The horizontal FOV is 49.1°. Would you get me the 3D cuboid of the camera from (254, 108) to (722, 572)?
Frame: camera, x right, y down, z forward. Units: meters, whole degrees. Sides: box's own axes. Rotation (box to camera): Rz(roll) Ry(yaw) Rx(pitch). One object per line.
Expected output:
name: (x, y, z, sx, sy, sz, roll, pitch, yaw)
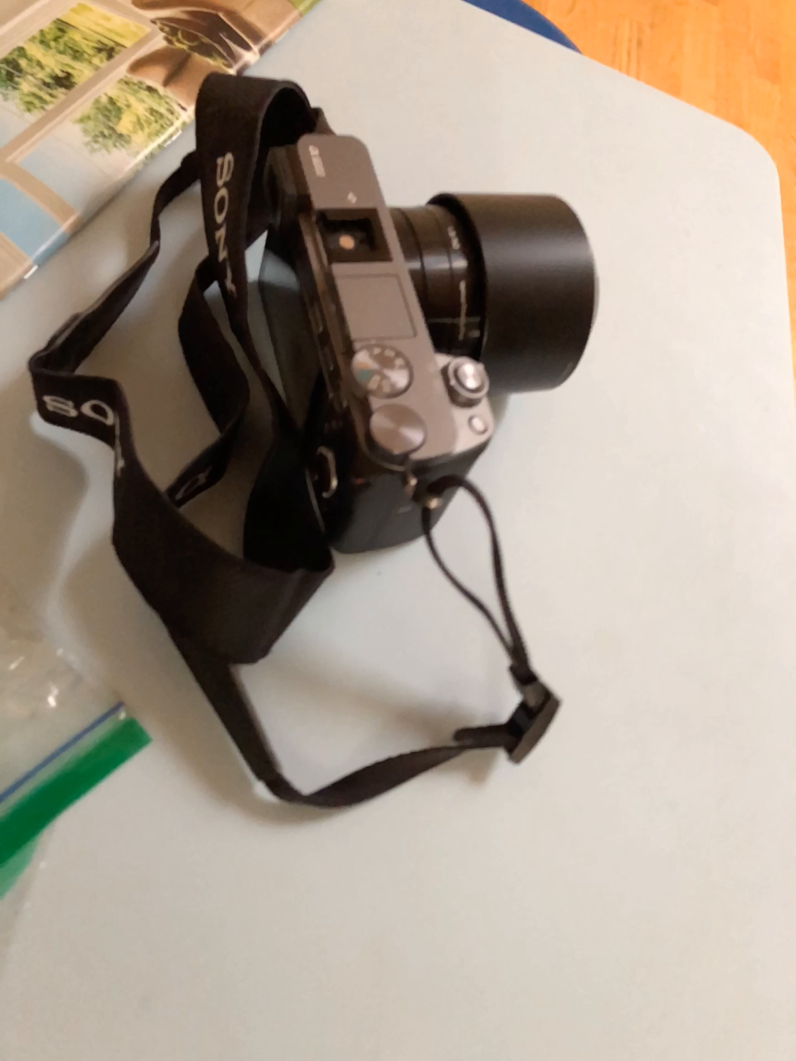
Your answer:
camera: (0.022, -0.066, 0.300, 0.110, 0.070, 0.130, -6, 66, -21)
